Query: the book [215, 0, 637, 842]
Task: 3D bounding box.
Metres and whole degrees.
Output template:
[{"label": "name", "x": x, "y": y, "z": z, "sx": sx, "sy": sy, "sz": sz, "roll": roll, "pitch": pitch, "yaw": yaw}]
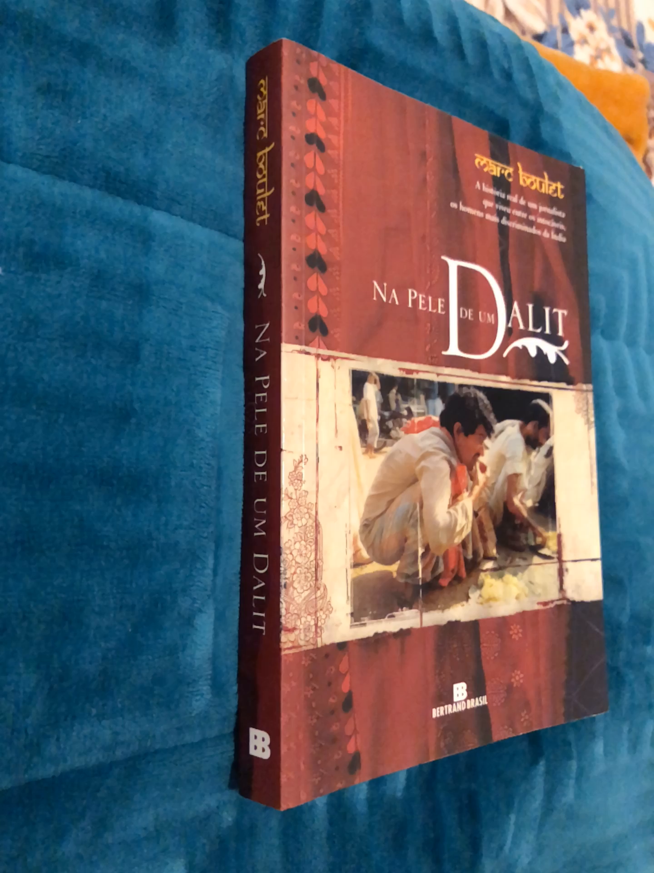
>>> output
[{"label": "book", "x": 0.042, "y": -0.006, "z": 0.247, "sx": 0.161, "sy": 0.030, "sz": 0.220, "roll": 3, "pitch": 85, "yaw": -36}]
